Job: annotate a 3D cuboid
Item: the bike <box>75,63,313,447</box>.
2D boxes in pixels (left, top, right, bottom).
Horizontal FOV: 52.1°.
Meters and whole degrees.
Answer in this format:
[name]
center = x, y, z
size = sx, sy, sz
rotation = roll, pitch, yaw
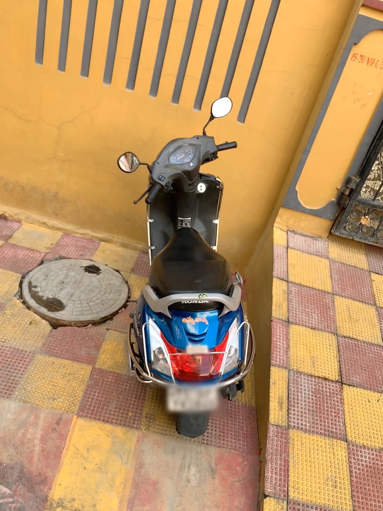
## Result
[bike]
center = -0.155, -0.146, 2.029
size = 0.596, 1.099, 1.532
rotation = 9, 33, -15
